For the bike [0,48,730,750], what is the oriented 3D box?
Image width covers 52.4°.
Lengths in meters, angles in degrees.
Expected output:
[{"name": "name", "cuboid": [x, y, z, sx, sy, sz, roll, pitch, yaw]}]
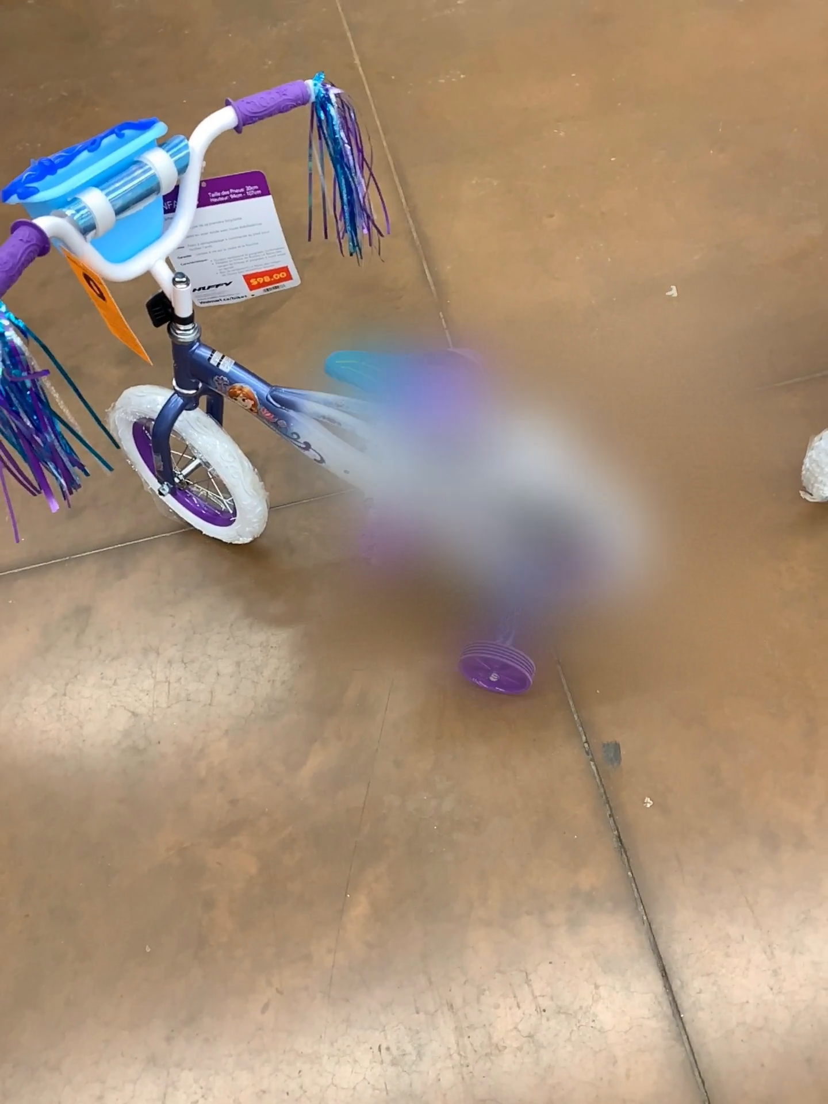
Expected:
[{"name": "bike", "cuboid": [-0.054, -0.147, 1.020, 0.651, 0.643, 0.473, 9, 58, 15]}]
